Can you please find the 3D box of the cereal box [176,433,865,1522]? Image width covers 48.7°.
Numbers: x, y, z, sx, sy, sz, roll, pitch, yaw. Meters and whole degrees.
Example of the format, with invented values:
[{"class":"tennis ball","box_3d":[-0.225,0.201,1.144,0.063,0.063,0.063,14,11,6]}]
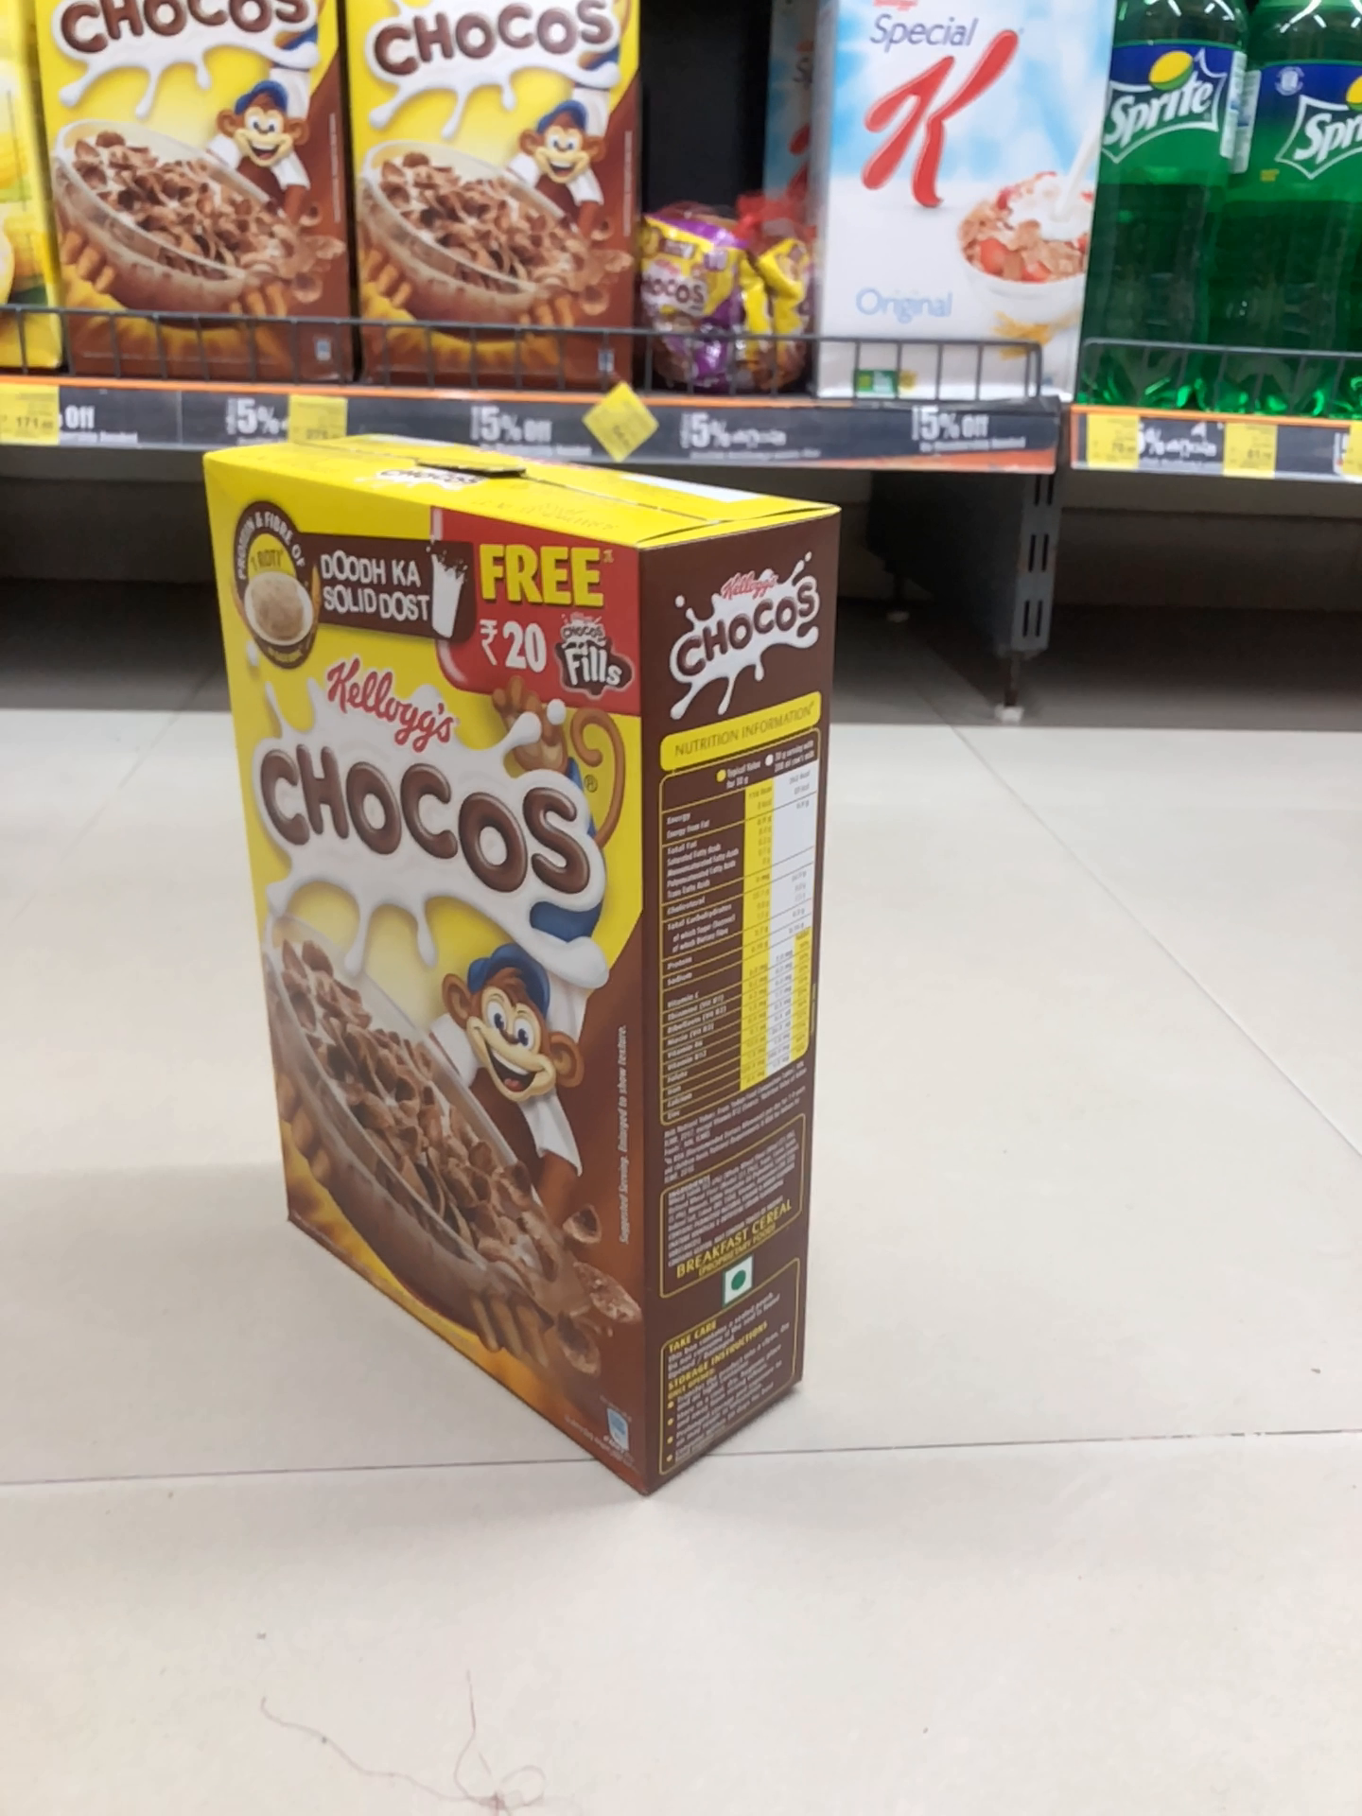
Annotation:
[{"class":"cereal box","box_3d":[-0.050,0.009,0.436,0.190,0.259,0.070,22,32,40]}]
